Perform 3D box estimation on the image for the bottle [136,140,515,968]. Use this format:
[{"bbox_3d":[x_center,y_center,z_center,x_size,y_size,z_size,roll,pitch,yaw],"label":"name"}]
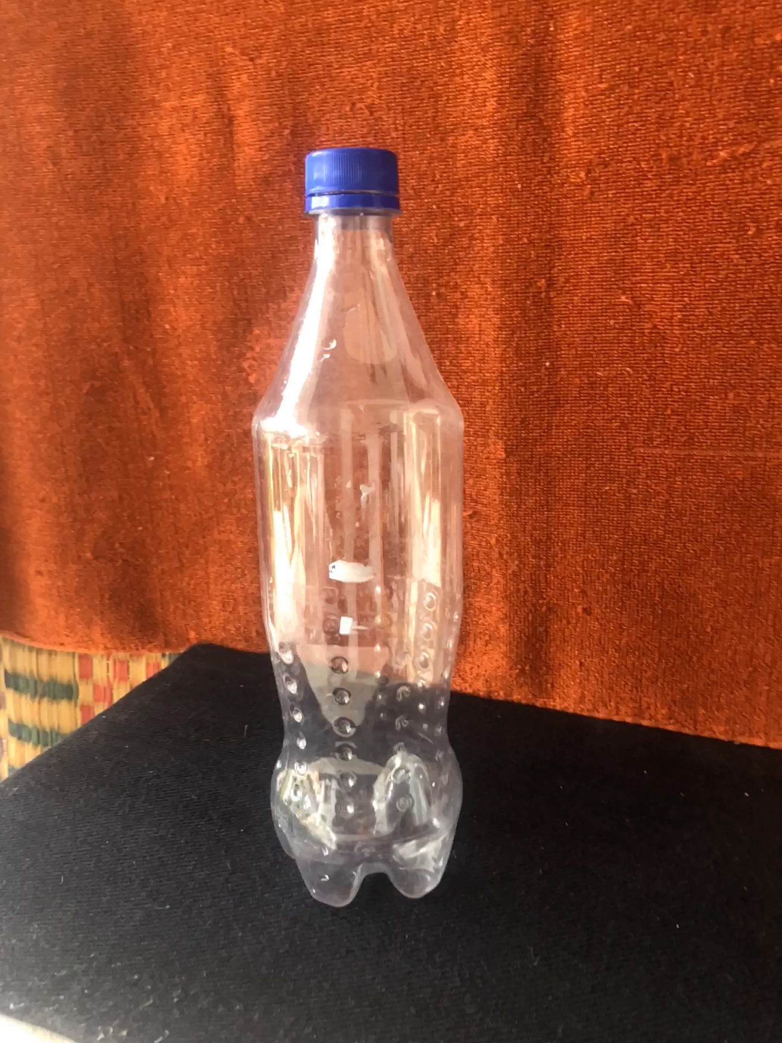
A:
[{"bbox_3d":[-0.019,0.008,0.302,0.080,0.249,0.090,-13,20,-29],"label":"bottle"}]
